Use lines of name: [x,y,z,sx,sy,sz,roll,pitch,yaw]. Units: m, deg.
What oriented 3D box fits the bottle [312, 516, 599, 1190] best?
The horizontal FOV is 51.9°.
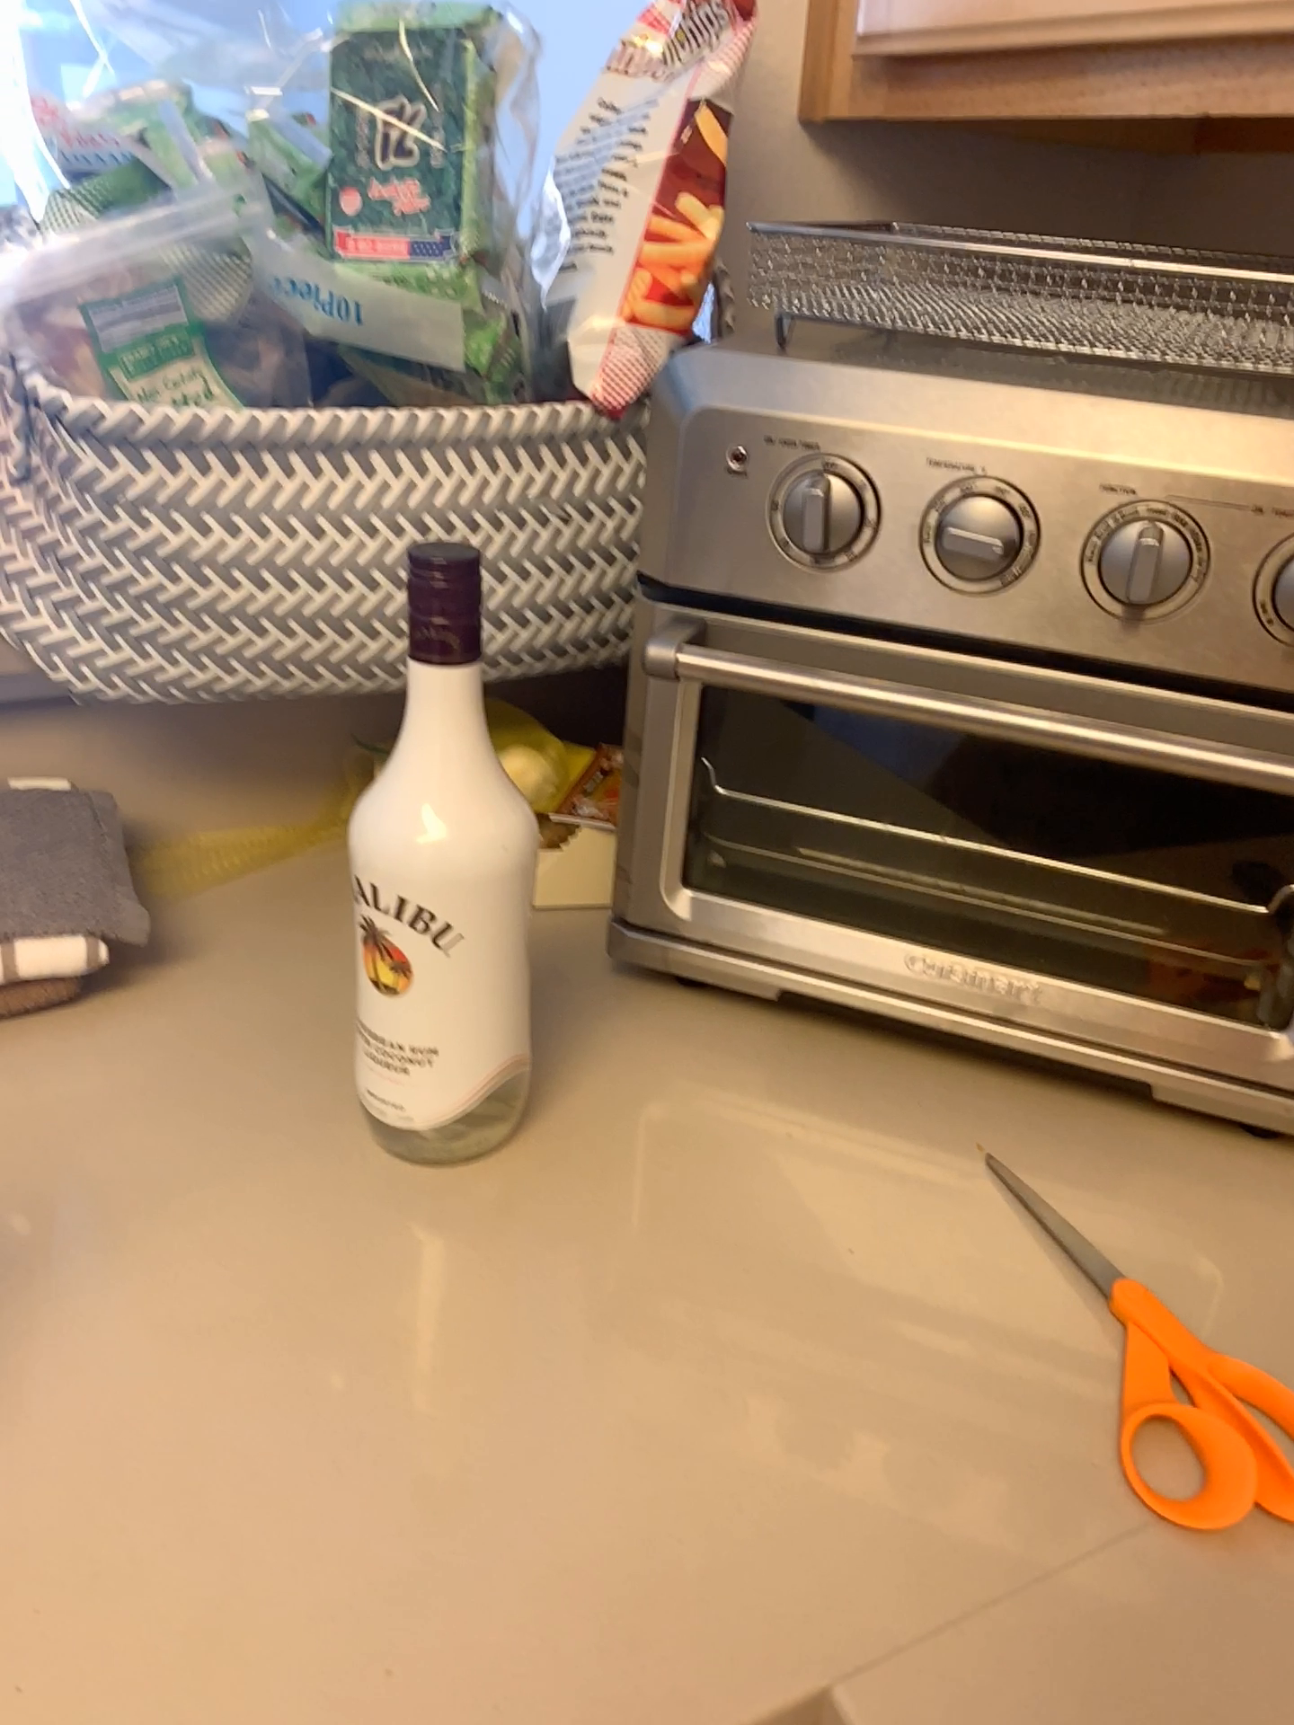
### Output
bottle: [-0.077,0.000,0.551,0.080,0.258,0.080,4,27,-2]
